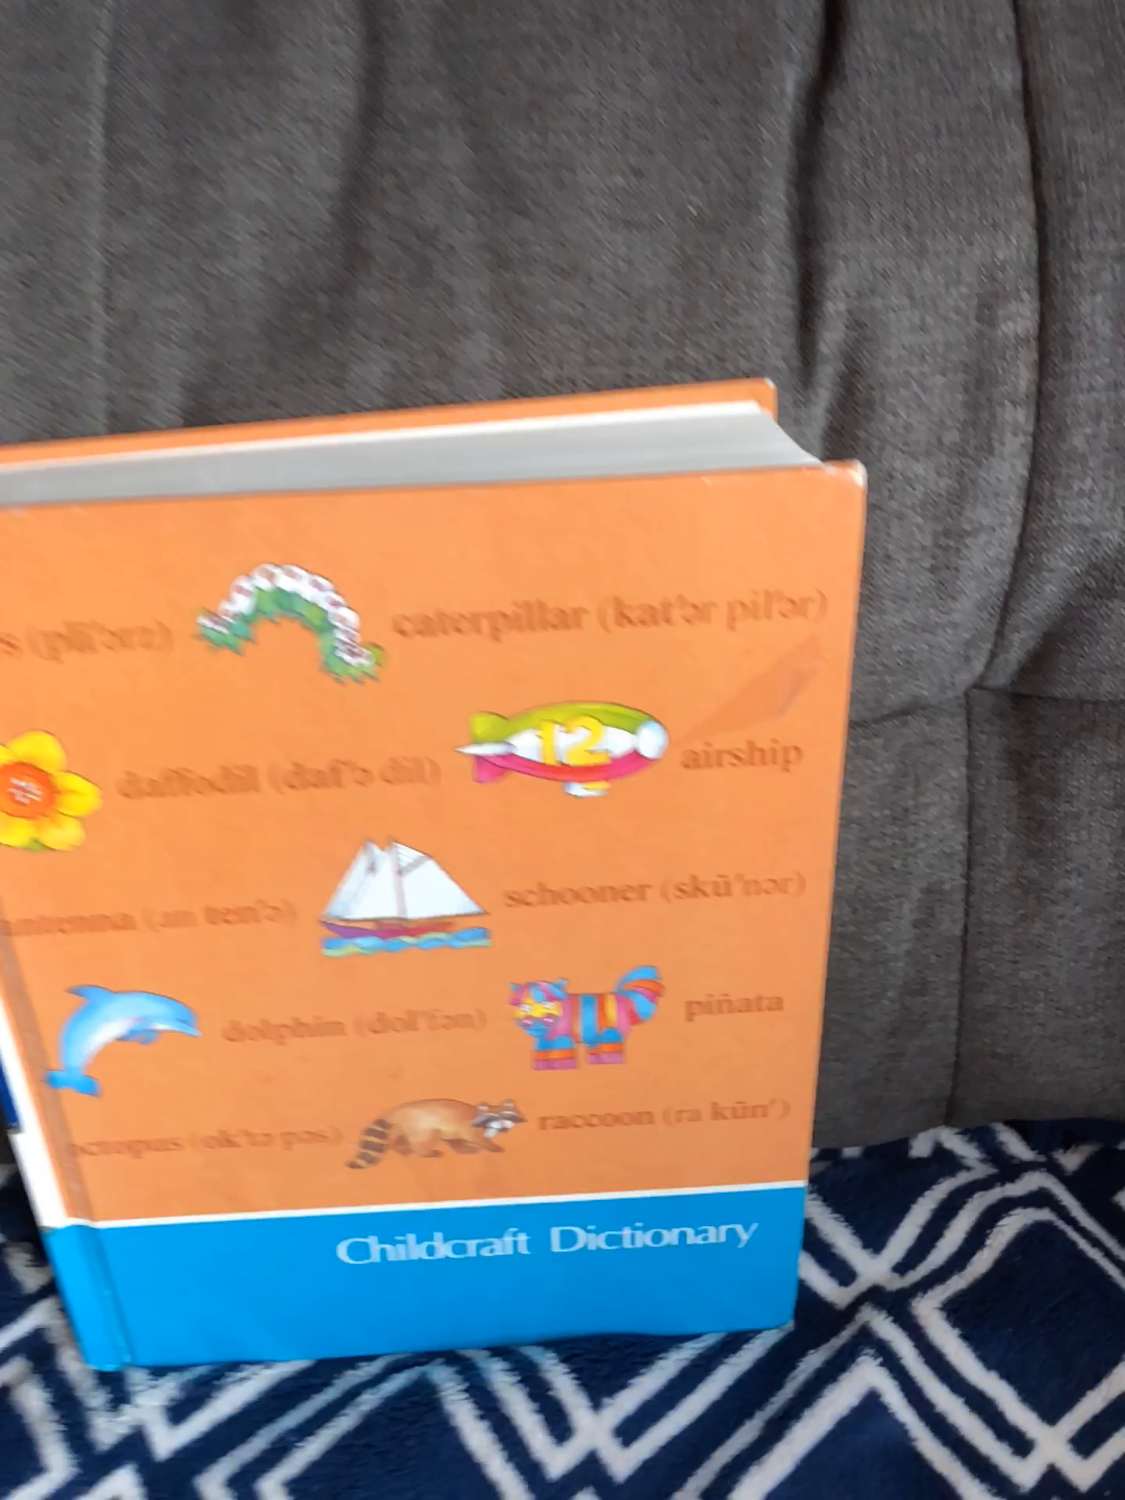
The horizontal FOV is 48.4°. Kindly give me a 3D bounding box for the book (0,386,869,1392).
[{"bbox_3d":[-0.043,0.050,0.321,0.210,0.259,0.055,-3,29,-2],"label":"book"}]
